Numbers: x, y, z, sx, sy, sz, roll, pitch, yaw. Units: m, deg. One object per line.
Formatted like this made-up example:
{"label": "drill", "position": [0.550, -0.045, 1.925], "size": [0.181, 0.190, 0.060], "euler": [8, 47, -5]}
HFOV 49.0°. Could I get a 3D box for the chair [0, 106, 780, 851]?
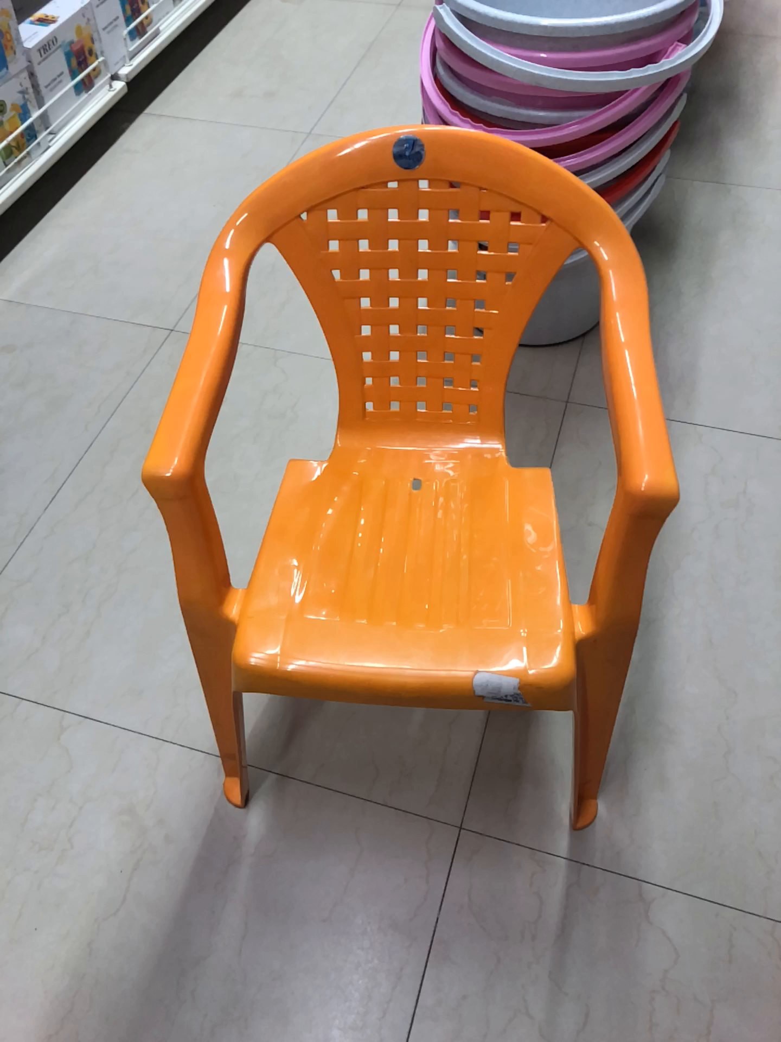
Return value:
{"label": "chair", "position": [0.020, -0.020, 0.726], "size": [0.390, 0.467, 0.402], "euler": [3, 52, 6]}
